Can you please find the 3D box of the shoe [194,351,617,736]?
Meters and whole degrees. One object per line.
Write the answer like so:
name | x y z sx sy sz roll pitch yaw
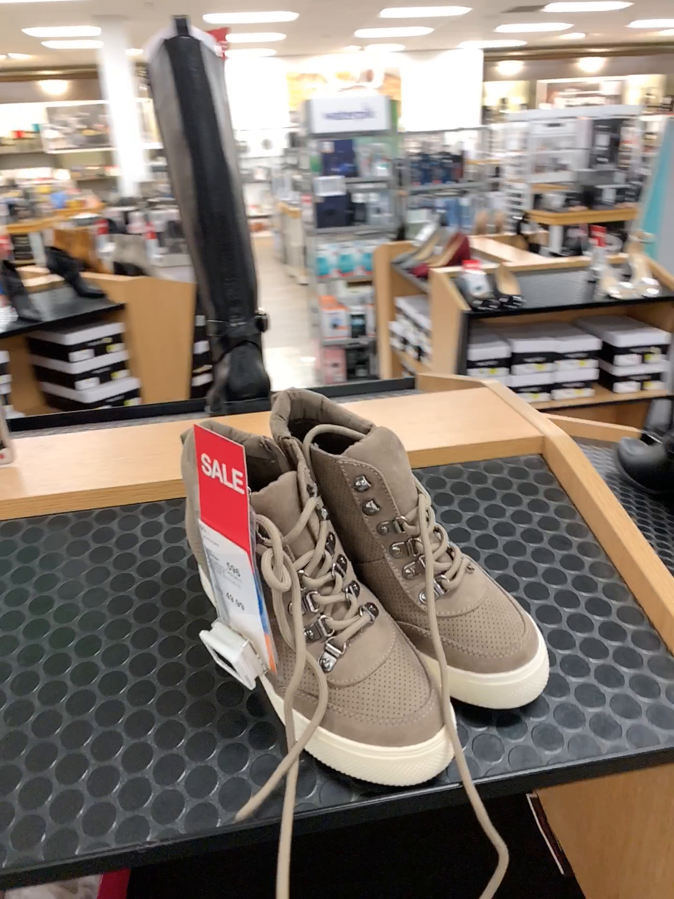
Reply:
shoe | 0.035 0.045 0.509 0.291 0.160 0.100 21 39 40

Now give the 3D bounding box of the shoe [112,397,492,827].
shoe | -0.031 0.086 0.473 0.100 0.160 0.261 -27 34 -33
